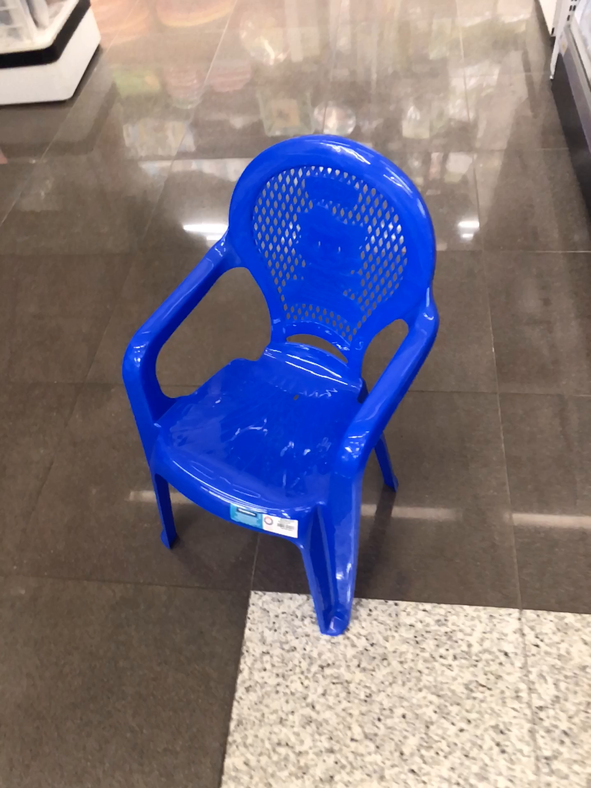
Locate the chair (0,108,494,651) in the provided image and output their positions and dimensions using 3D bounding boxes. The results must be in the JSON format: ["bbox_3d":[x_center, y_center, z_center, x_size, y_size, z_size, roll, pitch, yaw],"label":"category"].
[{"bbox_3d":[-0.015,-0.009,0.863,0.351,0.507,0.402,23,57,23],"label":"chair"}]
